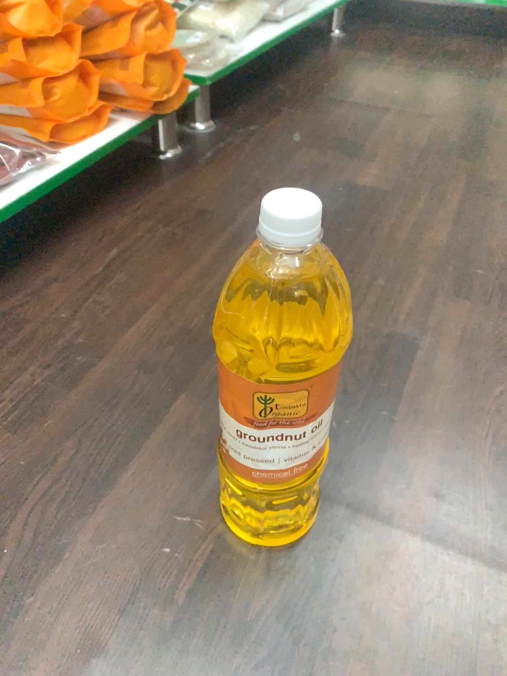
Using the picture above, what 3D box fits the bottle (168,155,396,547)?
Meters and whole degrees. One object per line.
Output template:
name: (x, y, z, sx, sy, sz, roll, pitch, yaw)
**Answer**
bottle: (0.011, 0.030, 0.319, 0.090, 0.259, 0.070, 2, 42, 1)
